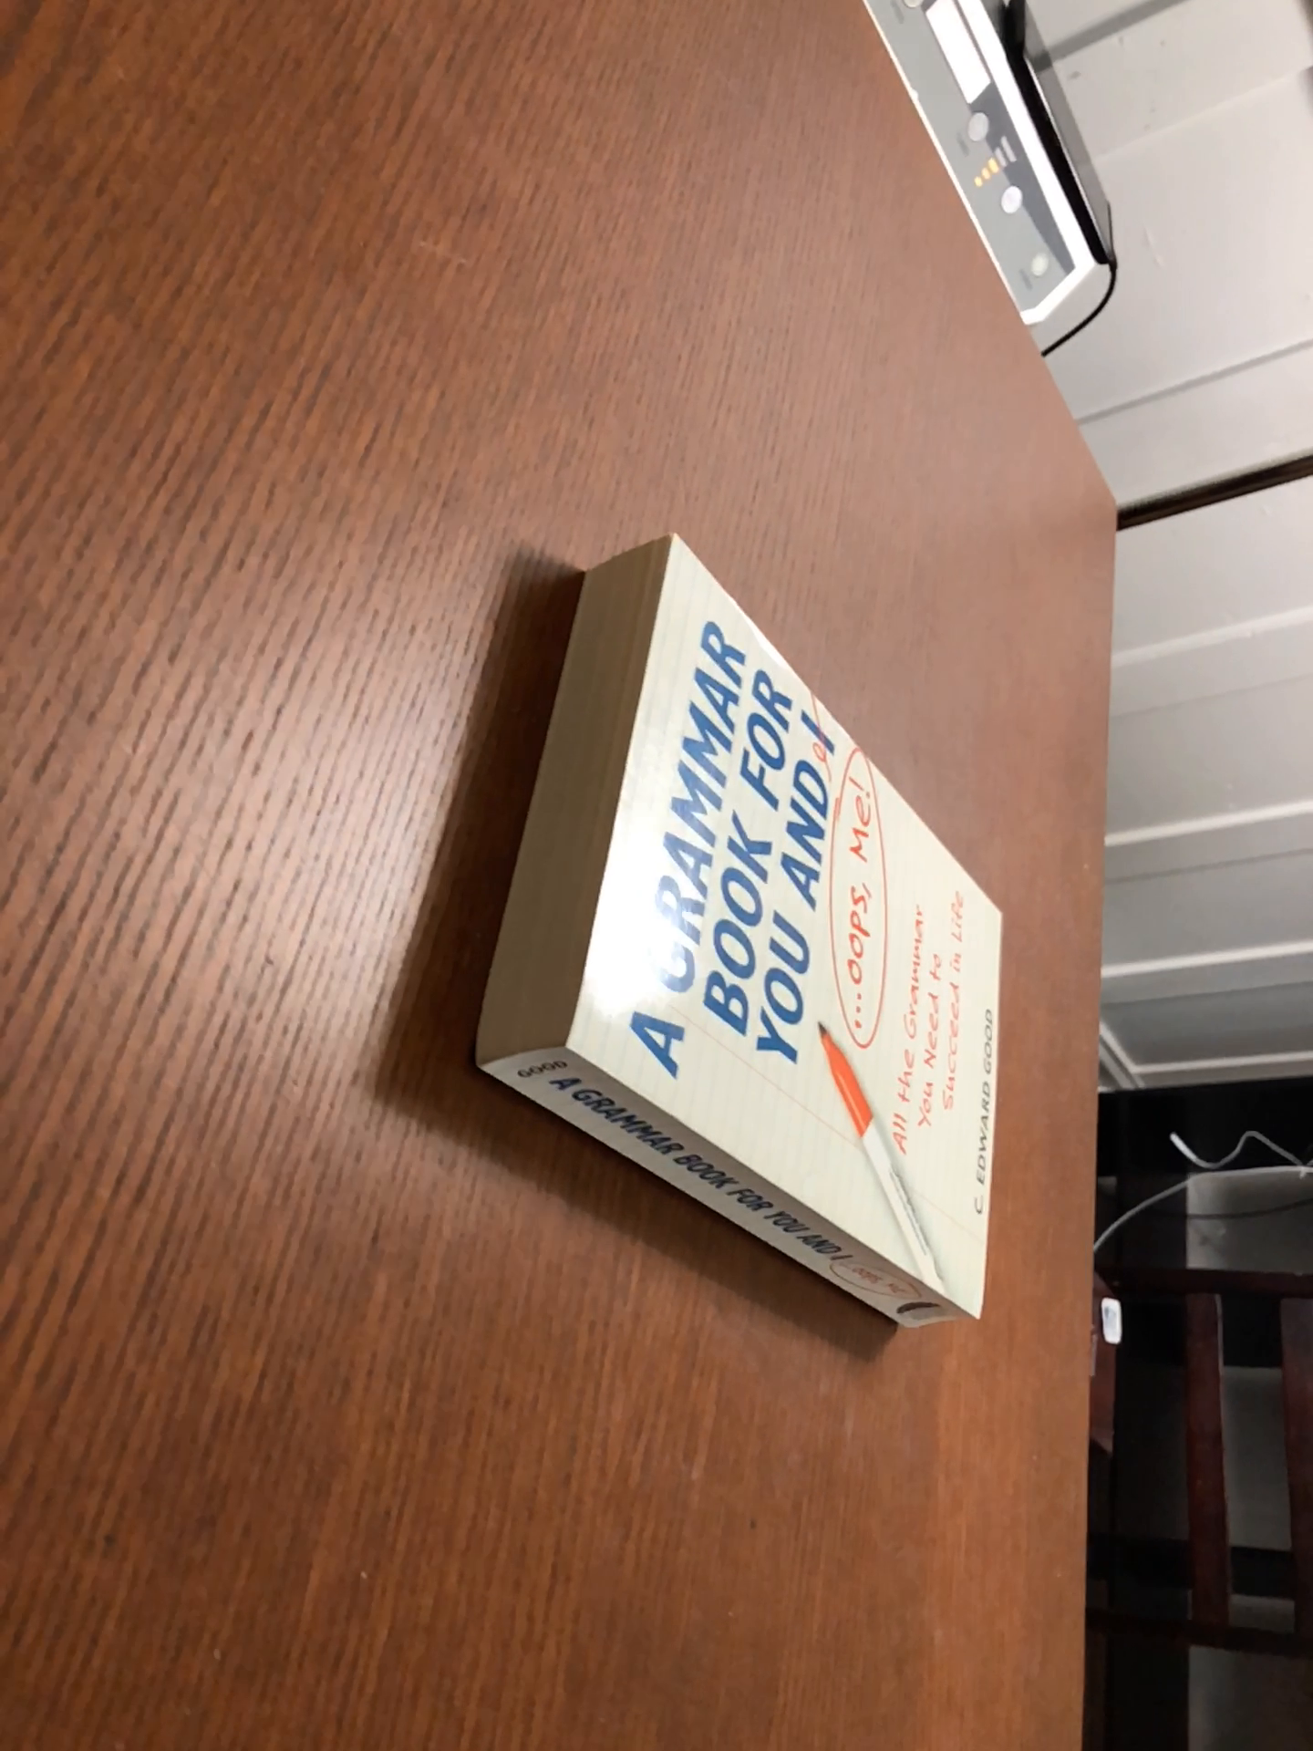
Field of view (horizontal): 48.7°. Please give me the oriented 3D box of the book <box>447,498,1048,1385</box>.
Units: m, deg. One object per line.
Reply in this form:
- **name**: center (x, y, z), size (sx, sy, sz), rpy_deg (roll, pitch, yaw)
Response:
- **book**: center (0.050, 0.035, 0.435), size (0.241, 0.040, 0.170), rpy_deg (41, 49, -43)
